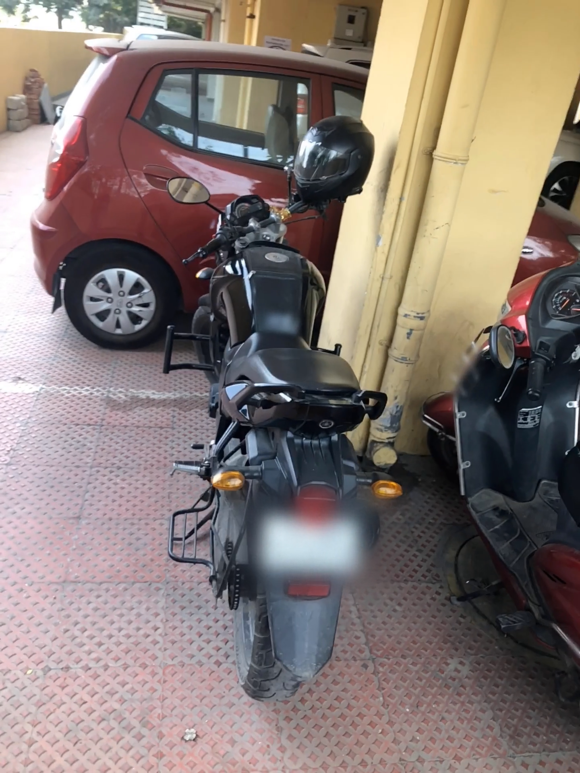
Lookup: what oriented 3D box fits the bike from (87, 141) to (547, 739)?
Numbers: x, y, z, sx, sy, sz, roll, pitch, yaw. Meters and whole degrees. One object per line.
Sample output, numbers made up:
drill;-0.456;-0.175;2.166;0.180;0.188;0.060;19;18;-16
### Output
bike;-0.216;-0.064;2.010;0.739;1.026;1.791;2;27;-16
